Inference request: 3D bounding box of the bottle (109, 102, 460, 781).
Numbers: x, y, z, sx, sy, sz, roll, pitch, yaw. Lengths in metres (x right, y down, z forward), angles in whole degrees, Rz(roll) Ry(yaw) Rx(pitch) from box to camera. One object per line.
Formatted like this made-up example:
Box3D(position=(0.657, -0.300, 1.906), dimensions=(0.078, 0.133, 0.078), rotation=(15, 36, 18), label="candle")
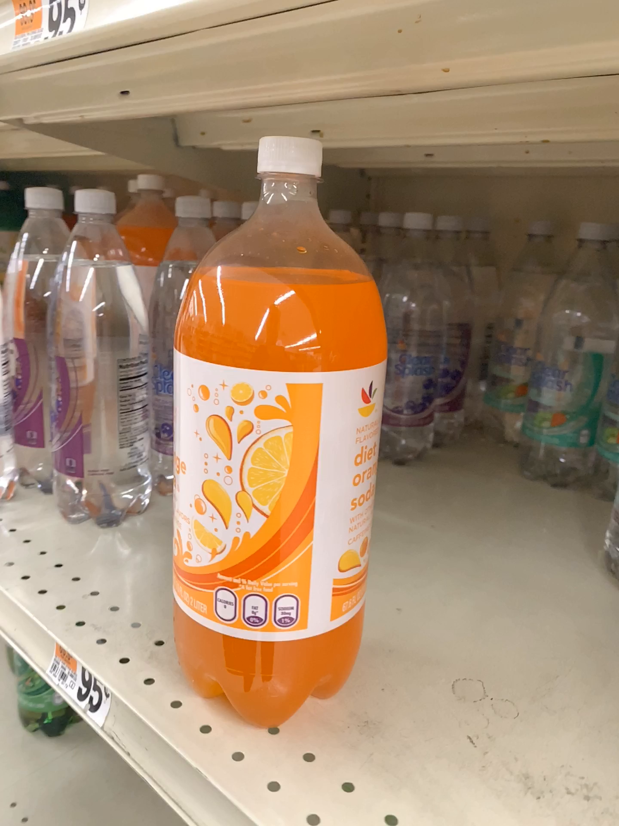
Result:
Box3D(position=(-0.020, 0.009, 0.334), dimensions=(0.110, 0.289, 0.120), rotation=(2, 17, -1), label="bottle")
